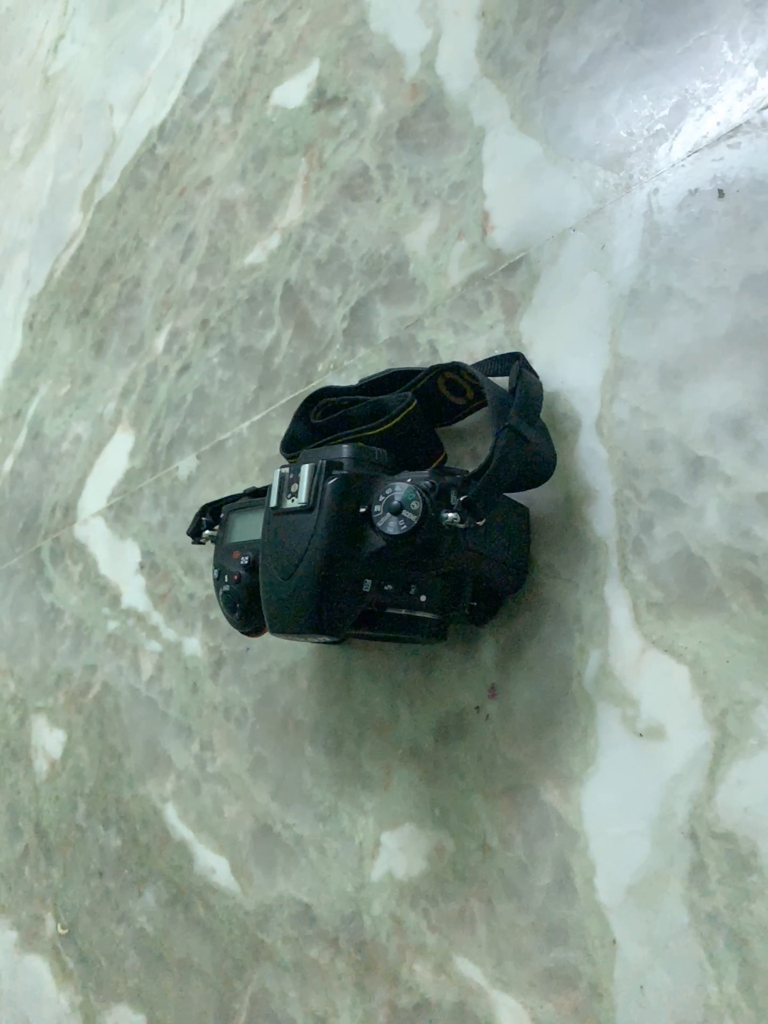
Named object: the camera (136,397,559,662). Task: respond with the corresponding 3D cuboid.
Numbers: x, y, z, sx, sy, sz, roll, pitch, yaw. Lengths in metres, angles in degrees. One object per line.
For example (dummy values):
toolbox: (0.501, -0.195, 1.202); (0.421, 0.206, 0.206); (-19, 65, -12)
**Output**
camera: (-0.016, 0.017, 0.348); (0.151, 0.100, 0.080); (-5, 72, 38)
